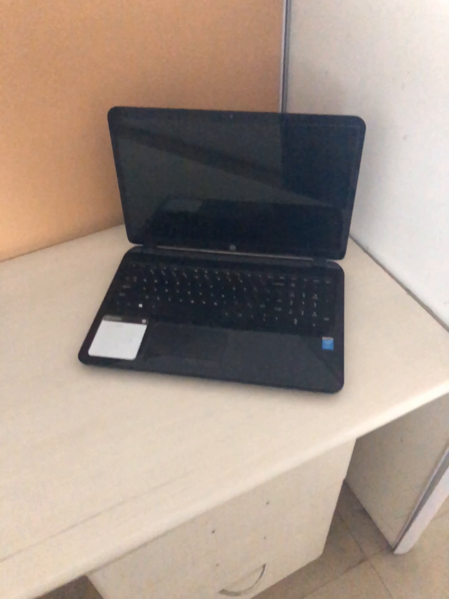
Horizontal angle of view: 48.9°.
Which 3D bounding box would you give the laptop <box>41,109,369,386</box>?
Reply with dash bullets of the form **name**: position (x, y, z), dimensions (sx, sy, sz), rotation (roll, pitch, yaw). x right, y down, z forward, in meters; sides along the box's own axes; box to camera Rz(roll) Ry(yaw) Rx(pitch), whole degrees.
- **laptop**: position (0.002, -0.081, 0.683), dimensions (0.350, 0.225, 0.267), rotation (6, 47, 9)
